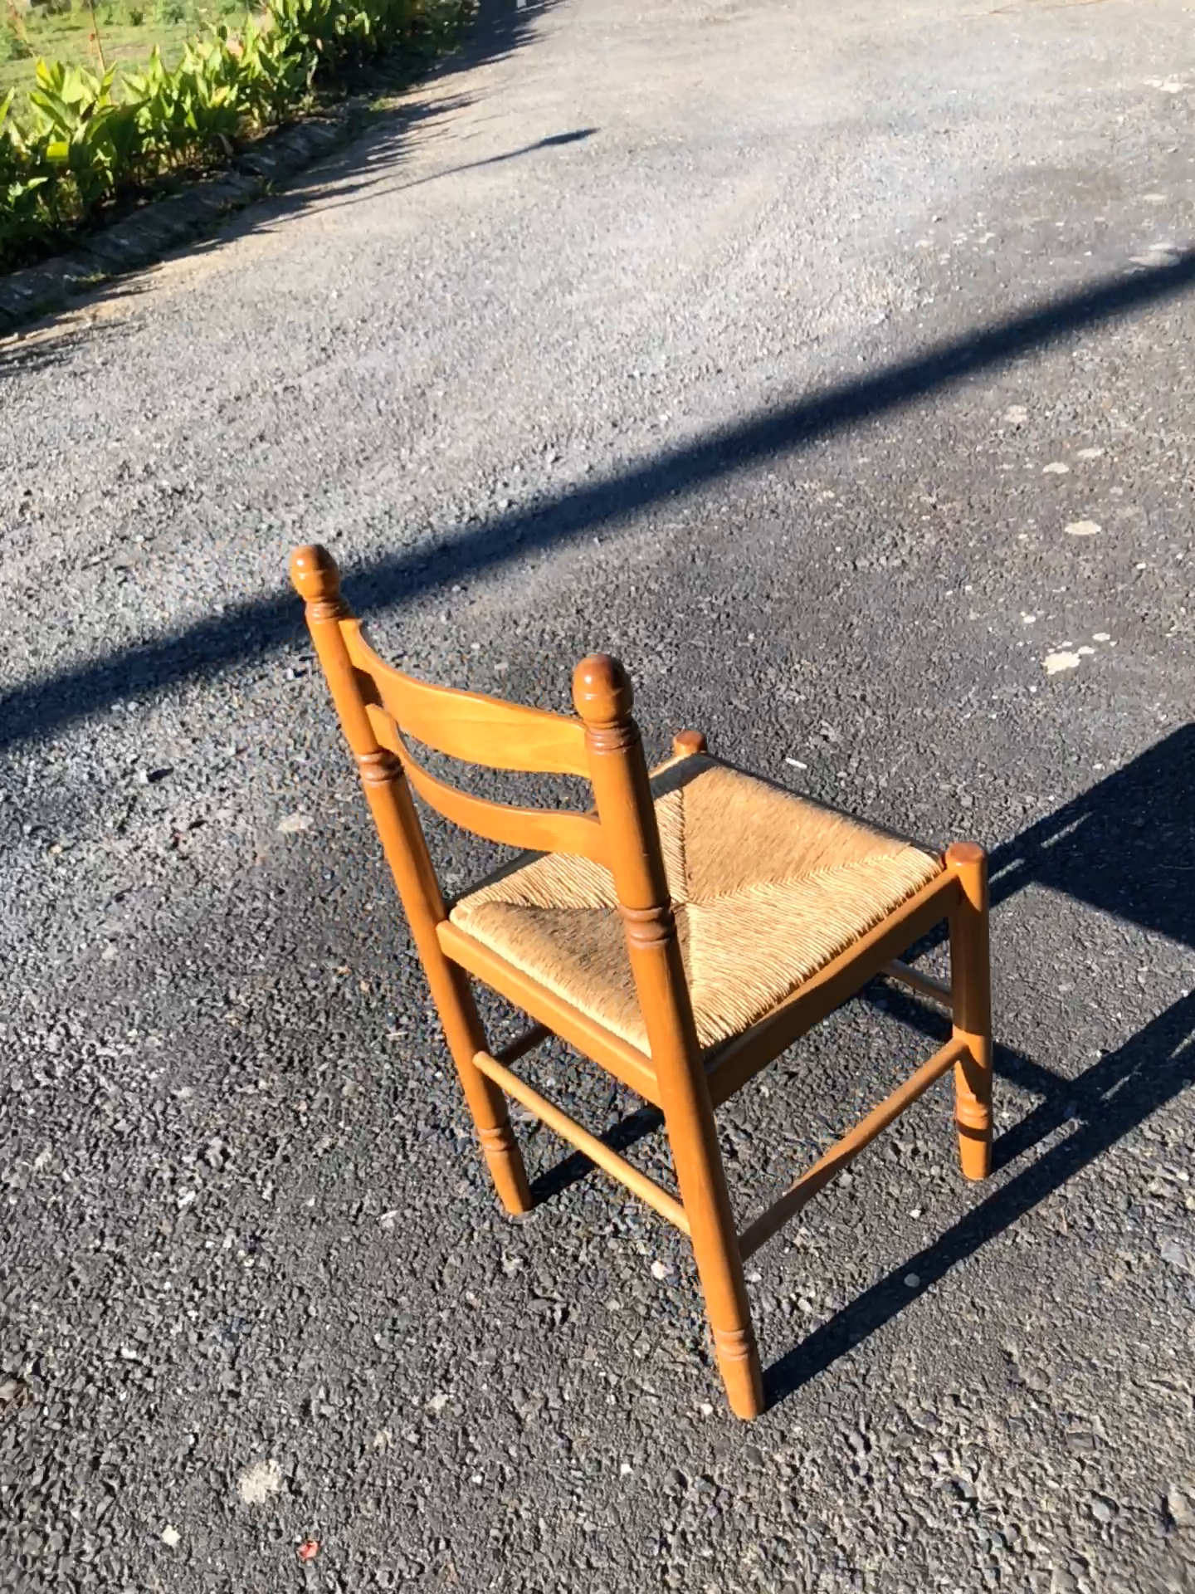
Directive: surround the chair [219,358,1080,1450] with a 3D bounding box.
[{"bbox_3d":[0.096,0.080,1.266,0.492,0.796,0.491,-34,40,-28],"label":"chair"}]
